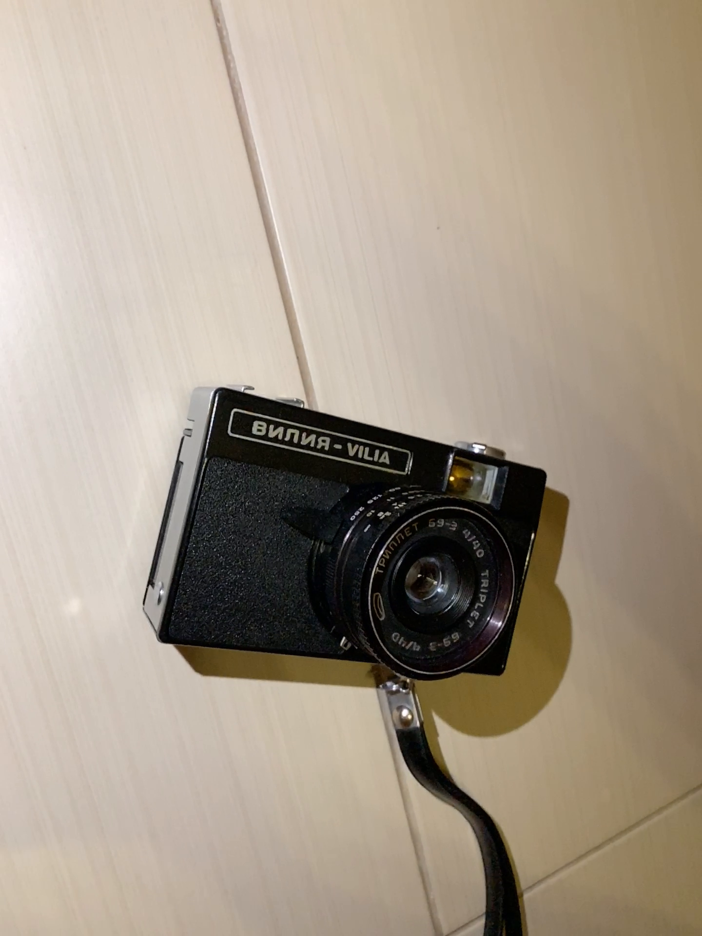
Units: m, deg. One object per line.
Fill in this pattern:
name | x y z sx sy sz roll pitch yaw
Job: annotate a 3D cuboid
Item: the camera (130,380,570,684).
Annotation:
camera | 0.001 0.022 0.239 0.124 0.041 0.072 13 91 -23
